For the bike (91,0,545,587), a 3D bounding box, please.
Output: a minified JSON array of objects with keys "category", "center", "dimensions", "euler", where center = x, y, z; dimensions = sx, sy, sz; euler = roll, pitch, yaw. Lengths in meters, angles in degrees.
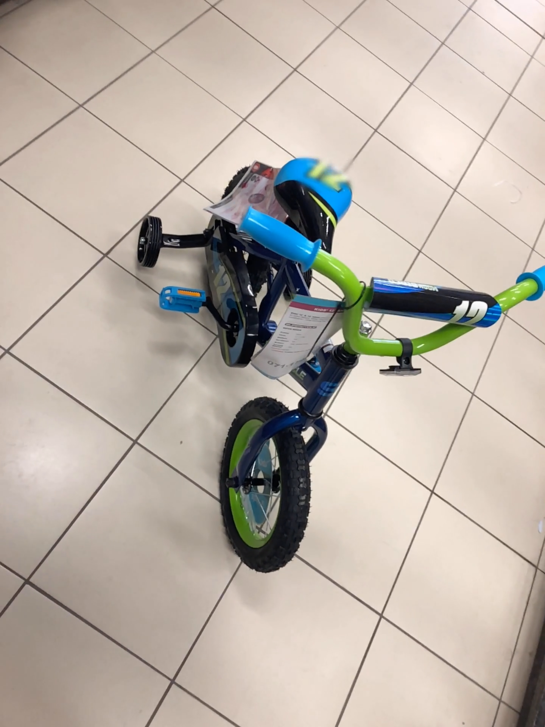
[{"category":"bike","center":[0.032,-0.108,0.986],"dimensions":[0.549,0.676,0.795],"euler":[4,66,-20]}]
